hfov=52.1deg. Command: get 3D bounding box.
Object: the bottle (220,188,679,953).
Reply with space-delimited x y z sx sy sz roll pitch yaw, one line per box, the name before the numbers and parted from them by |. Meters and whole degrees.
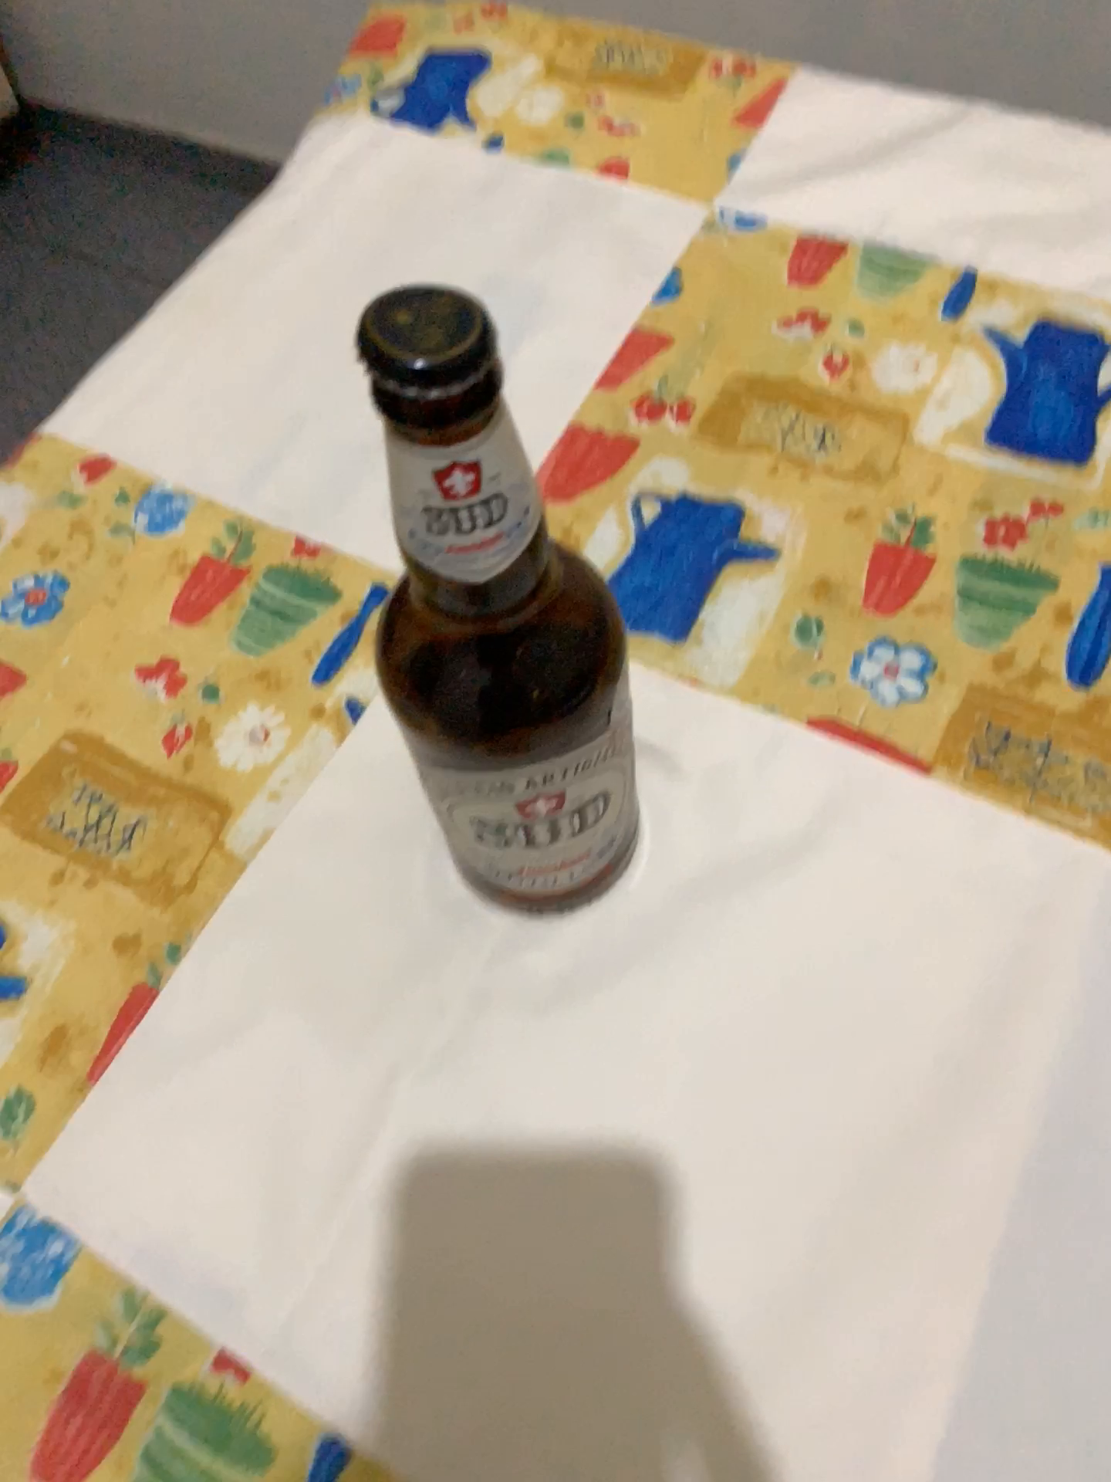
bottle | -0.014 -0.022 0.331 0.080 0.239 0.070 -16 60 -3
